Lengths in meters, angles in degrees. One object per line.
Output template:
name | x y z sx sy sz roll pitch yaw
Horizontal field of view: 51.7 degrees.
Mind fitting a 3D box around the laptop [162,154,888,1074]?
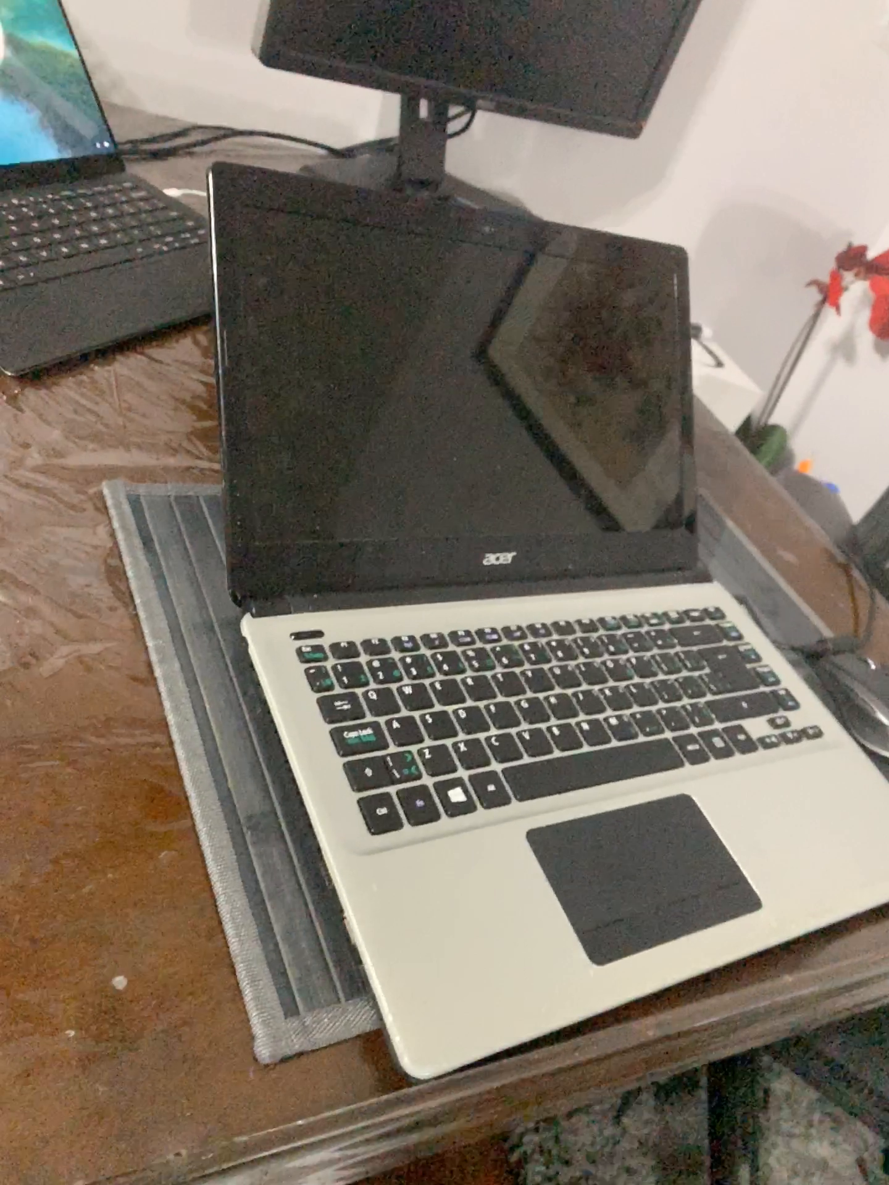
laptop | 0.077 -0.034 0.467 0.331 0.146 0.386 -3 46 -32
